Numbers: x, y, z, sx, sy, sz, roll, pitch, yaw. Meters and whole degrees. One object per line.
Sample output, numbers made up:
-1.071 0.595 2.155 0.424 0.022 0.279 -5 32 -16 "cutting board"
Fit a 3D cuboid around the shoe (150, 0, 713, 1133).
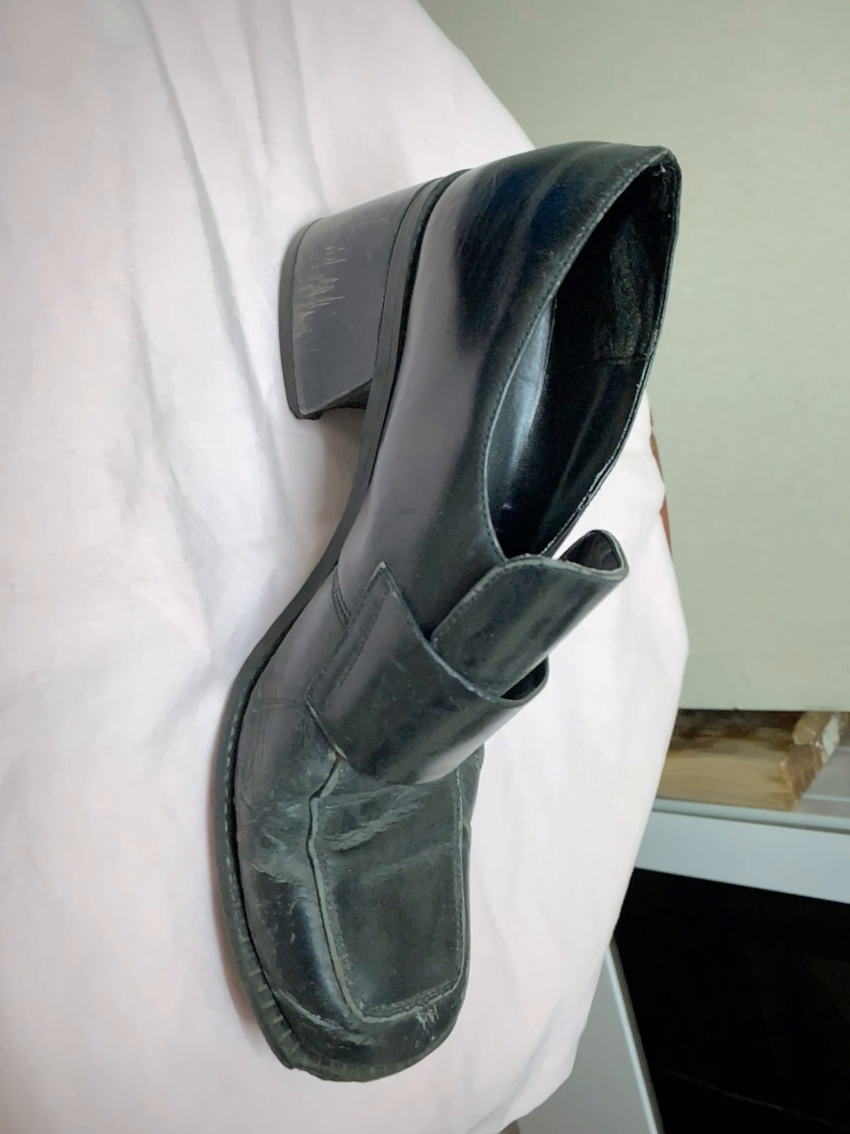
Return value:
0.006 0.000 0.221 0.091 0.092 0.240 12 77 -44 "shoe"
